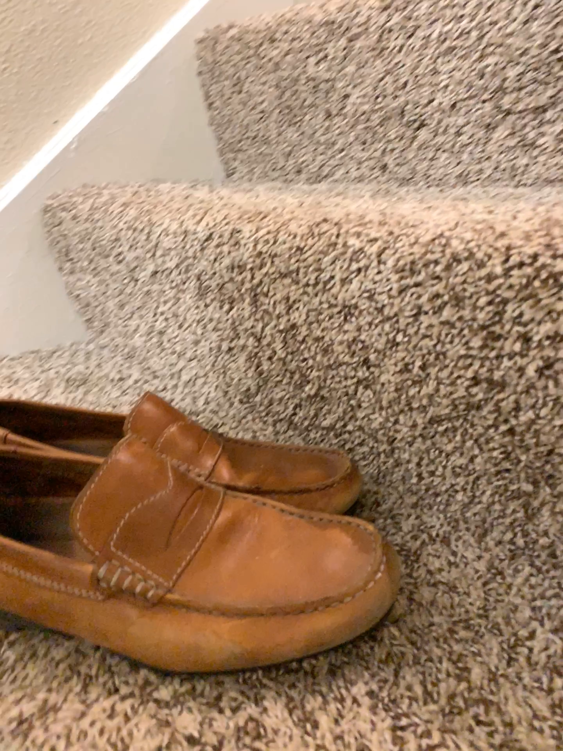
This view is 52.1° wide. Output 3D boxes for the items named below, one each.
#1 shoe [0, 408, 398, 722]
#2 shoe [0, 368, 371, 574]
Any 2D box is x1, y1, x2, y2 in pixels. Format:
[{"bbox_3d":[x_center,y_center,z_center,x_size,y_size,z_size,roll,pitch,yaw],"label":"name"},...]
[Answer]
[{"bbox_3d":[-0.082,0.086,0.322,0.280,0.070,0.120,4,21,13],"label":"shoe"},{"bbox_3d":[-0.087,0.052,0.381,0.280,0.070,0.090,4,21,13],"label":"shoe"}]
